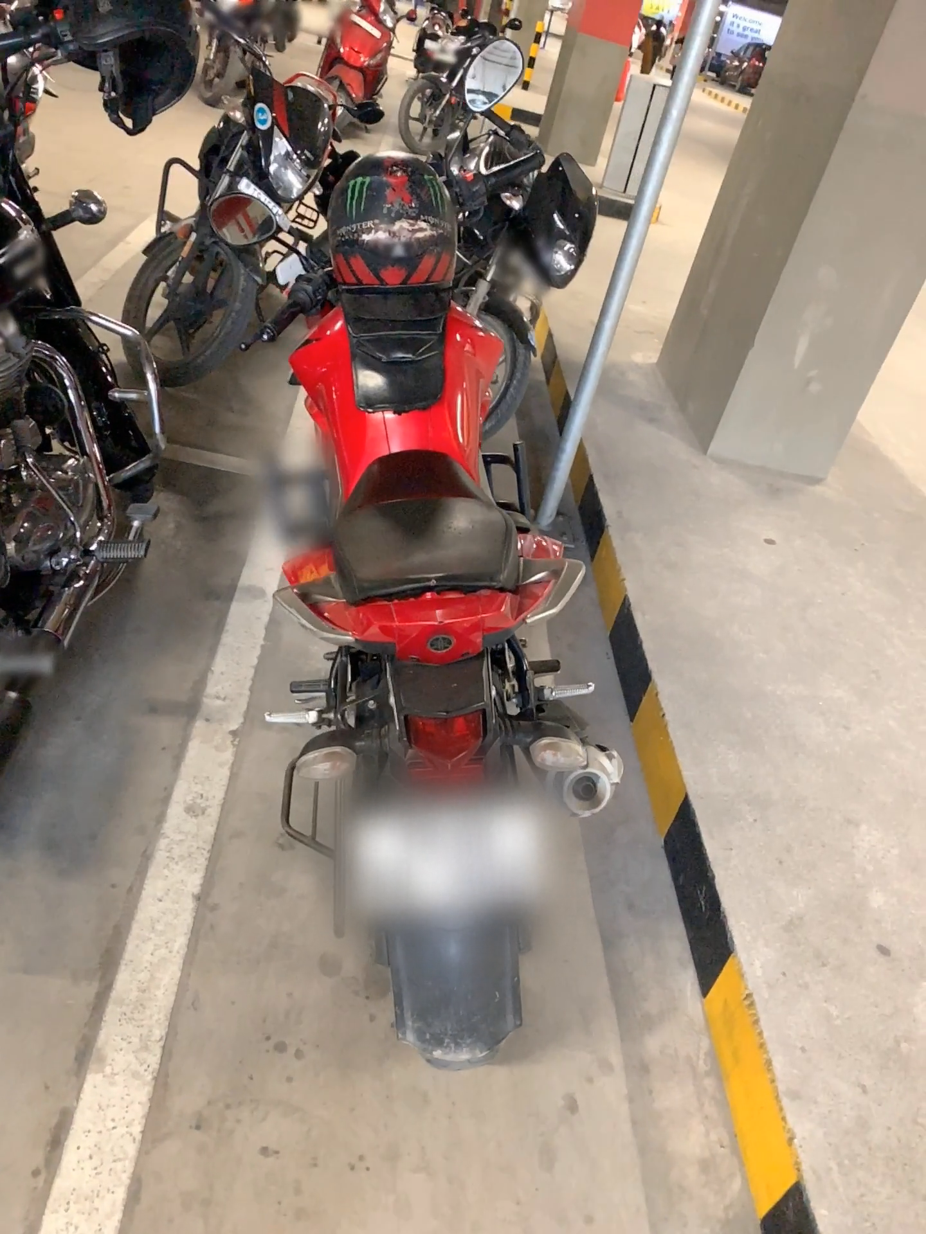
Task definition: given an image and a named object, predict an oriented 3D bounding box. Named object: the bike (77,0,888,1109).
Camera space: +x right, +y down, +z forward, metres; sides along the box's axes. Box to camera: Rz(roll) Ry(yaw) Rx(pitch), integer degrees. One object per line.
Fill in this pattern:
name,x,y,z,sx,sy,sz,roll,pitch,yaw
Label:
bike,-0.288,-0.261,1.702,0.677,1.122,1.690,3,37,-19
